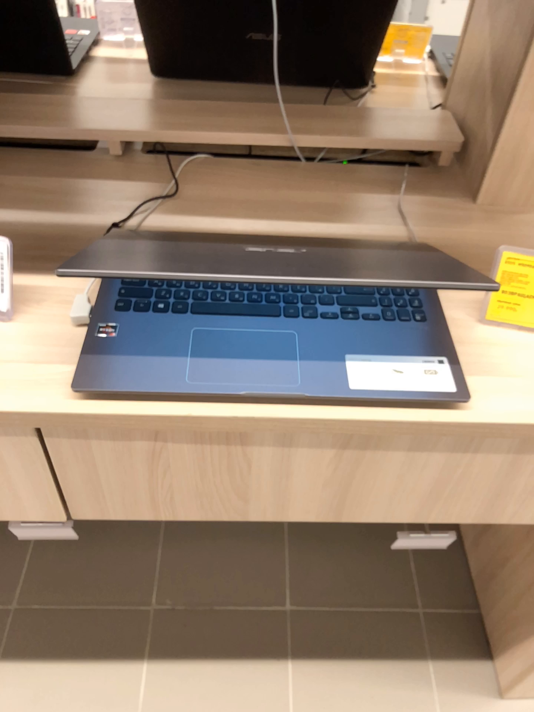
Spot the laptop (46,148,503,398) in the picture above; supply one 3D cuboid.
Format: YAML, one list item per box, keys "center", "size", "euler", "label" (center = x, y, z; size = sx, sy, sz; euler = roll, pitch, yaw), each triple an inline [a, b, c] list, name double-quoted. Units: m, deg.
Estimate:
- center: [0.004, -0.088, 0.575]
  size: [0.349, 0.111, 0.234]
  euler: [2, 45, -2]
  label: "laptop"
